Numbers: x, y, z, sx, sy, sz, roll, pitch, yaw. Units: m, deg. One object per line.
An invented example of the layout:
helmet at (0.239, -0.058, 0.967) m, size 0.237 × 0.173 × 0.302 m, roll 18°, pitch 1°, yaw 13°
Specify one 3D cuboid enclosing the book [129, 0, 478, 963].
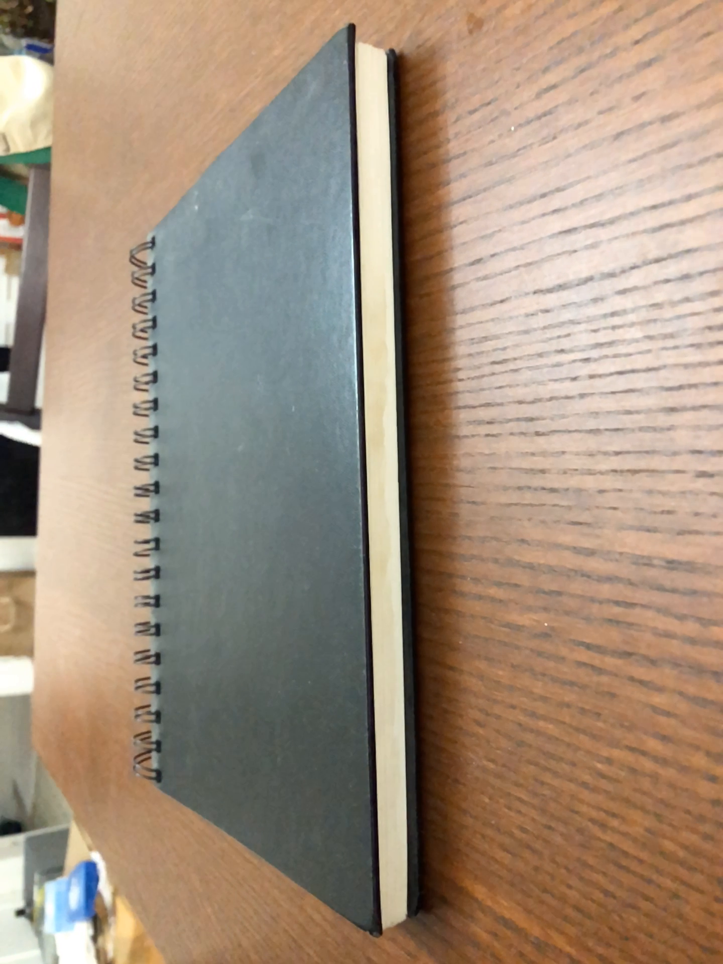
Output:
book at (-0.041, 0.002, 0.293) m, size 0.201 × 0.030 × 0.260 m, roll -11°, pitch 79°, yaw 57°
